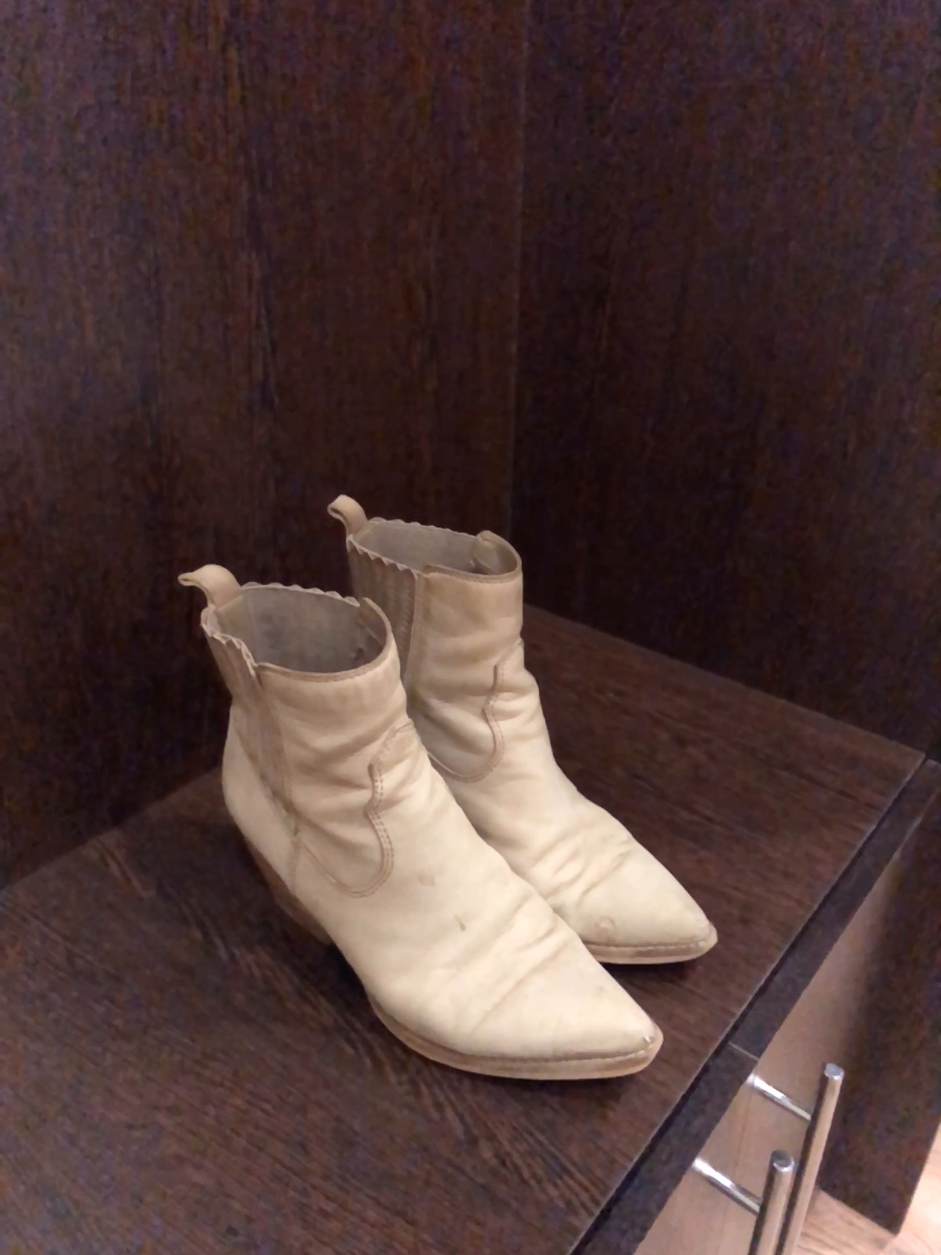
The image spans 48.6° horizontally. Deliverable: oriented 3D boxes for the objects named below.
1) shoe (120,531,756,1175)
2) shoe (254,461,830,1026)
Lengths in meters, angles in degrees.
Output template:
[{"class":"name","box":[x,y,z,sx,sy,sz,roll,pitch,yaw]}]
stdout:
[{"class":"shoe","box":[-0.026,0.084,0.483,0.270,0.169,0.100,22,36,34]},{"class":"shoe","box":[0.019,0.039,0.543,0.281,0.169,0.100,25,37,37]}]
